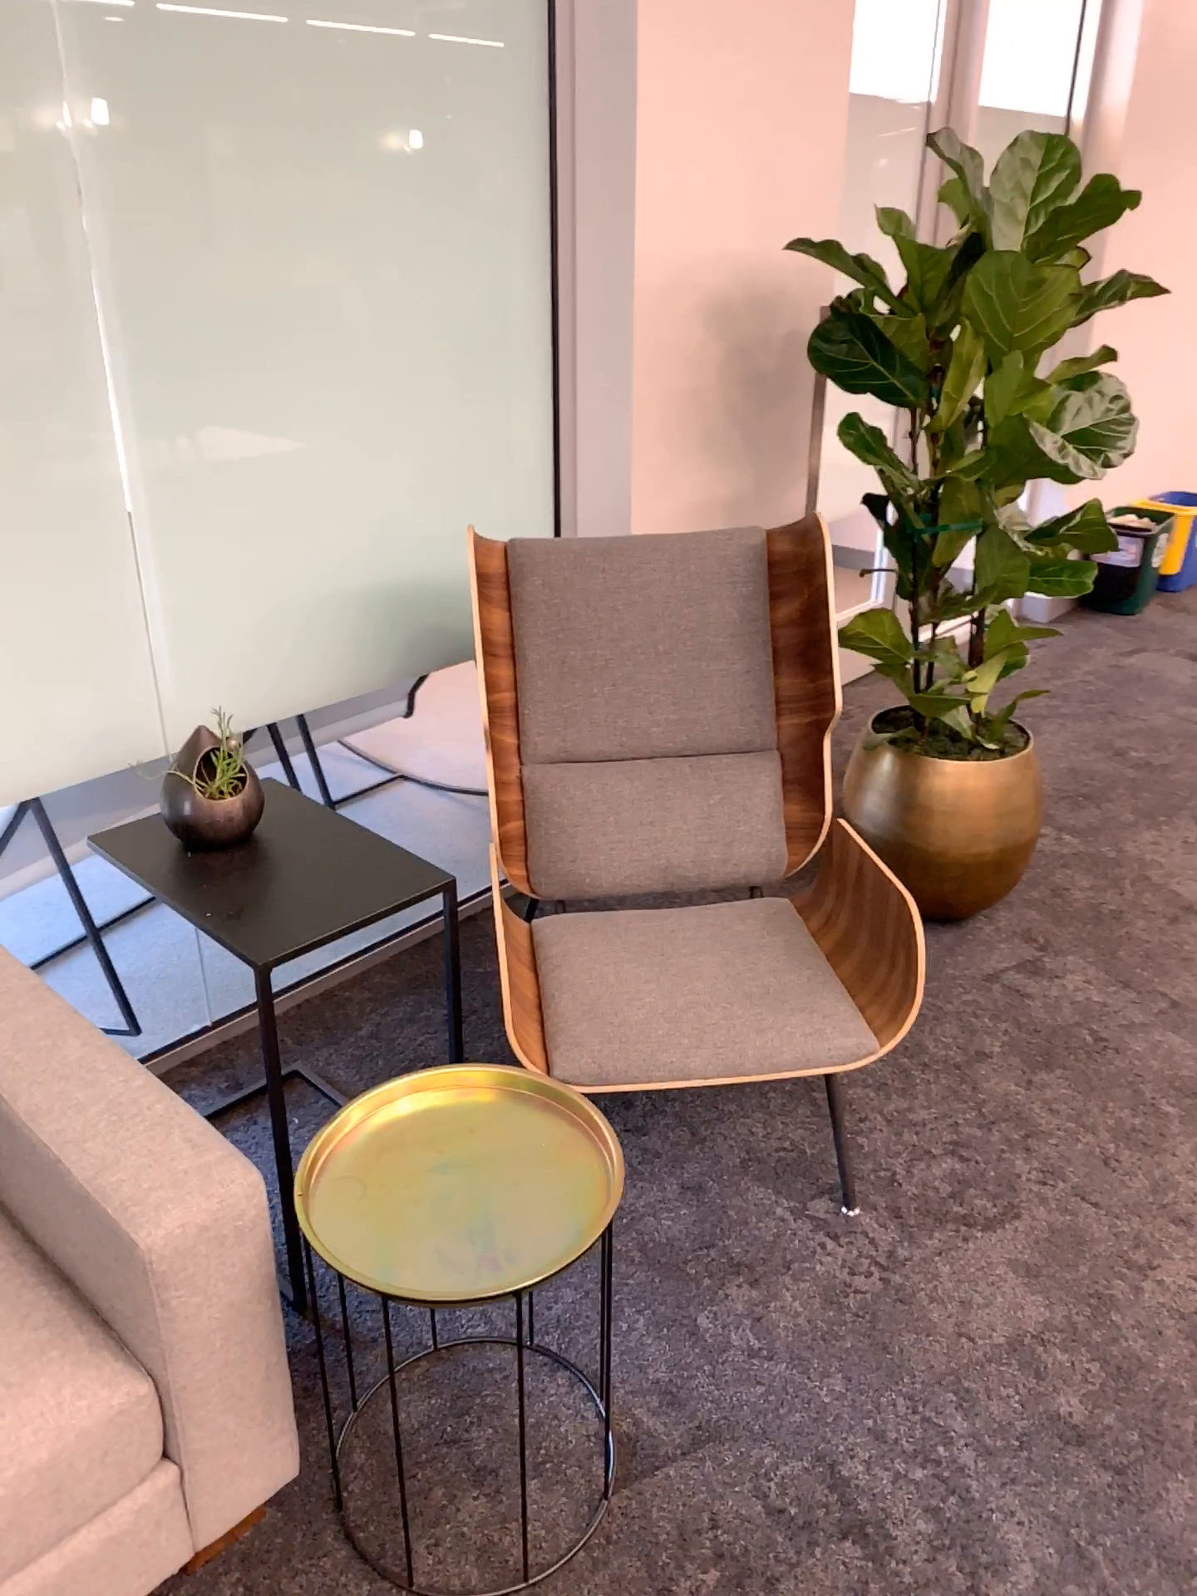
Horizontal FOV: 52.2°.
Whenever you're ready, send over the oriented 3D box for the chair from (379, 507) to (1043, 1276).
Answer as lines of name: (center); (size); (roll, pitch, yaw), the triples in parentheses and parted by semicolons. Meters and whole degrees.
chair: (0.097, 0.087, 2.212); (0.880, 0.994, 0.936); (-3, 25, -7)
